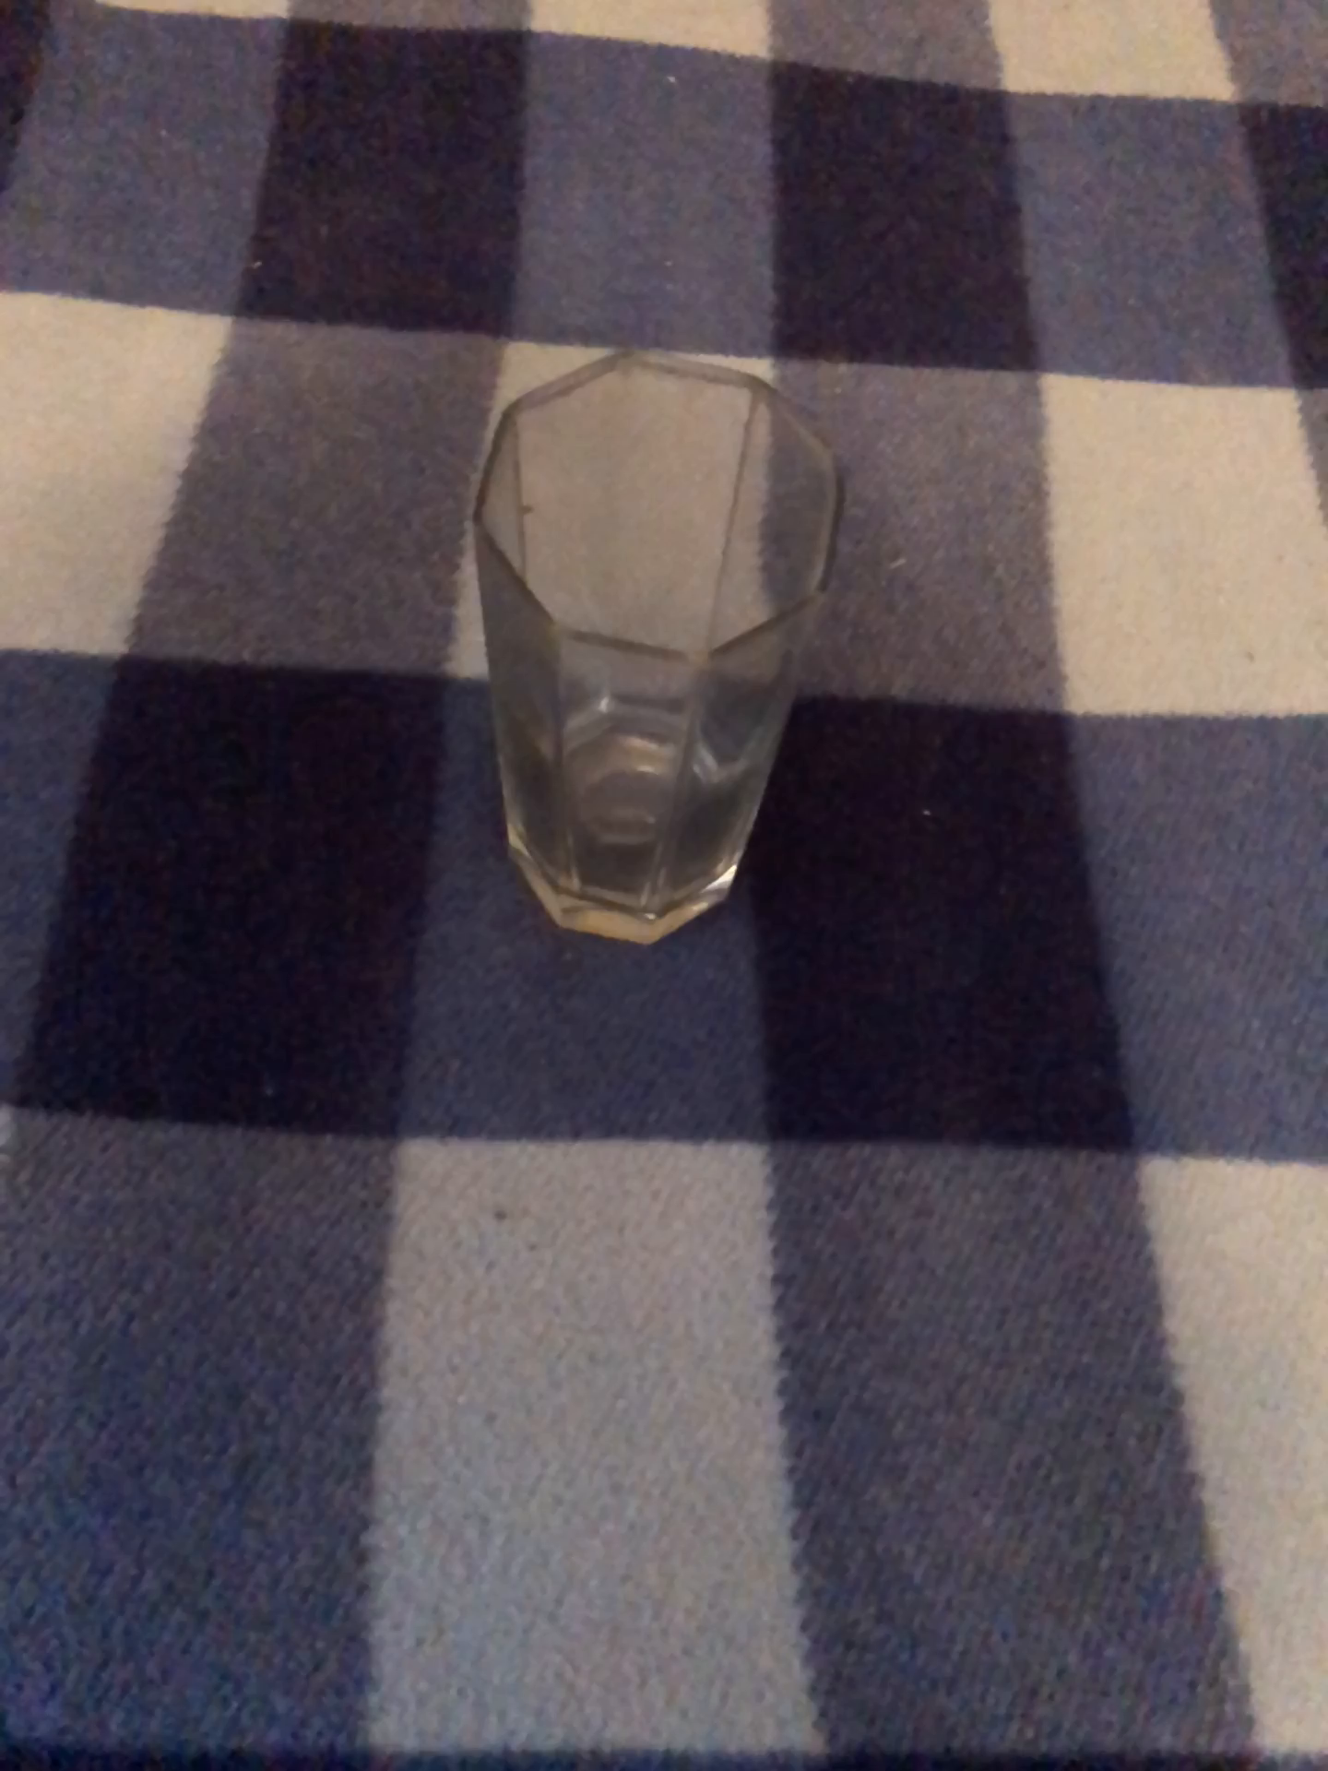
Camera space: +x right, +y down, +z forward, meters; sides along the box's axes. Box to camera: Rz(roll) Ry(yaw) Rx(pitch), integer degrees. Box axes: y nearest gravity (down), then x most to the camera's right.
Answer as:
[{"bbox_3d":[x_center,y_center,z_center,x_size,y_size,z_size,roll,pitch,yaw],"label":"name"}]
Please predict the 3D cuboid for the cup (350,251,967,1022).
[{"bbox_3d":[-0.005,-0.046,0.327,0.082,0.137,0.077,2,65,-4],"label":"cup"}]
